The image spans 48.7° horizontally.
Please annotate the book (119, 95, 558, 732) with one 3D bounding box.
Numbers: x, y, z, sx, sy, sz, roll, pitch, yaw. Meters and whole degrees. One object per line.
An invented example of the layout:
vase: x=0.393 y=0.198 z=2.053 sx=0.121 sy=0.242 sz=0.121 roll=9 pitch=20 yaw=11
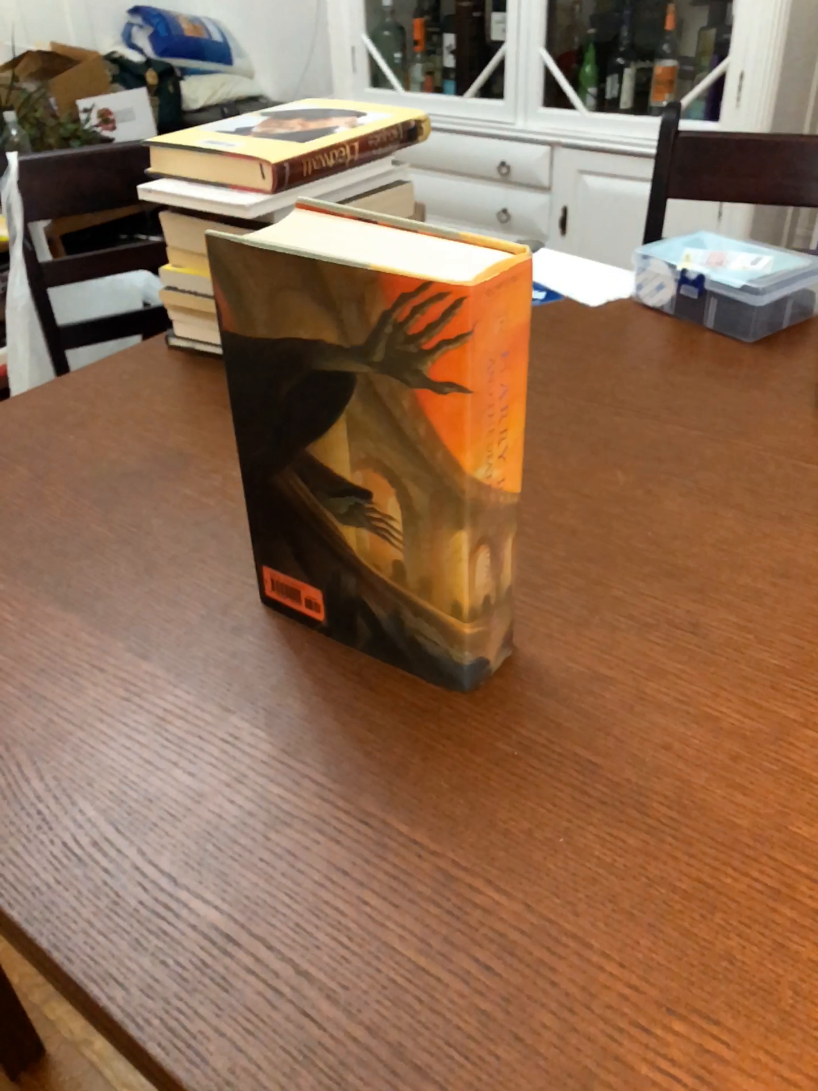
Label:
book: x=-0.036 y=-0.071 z=0.499 sx=0.210 sy=0.298 sz=0.070 roll=24 pitch=42 yaw=32
